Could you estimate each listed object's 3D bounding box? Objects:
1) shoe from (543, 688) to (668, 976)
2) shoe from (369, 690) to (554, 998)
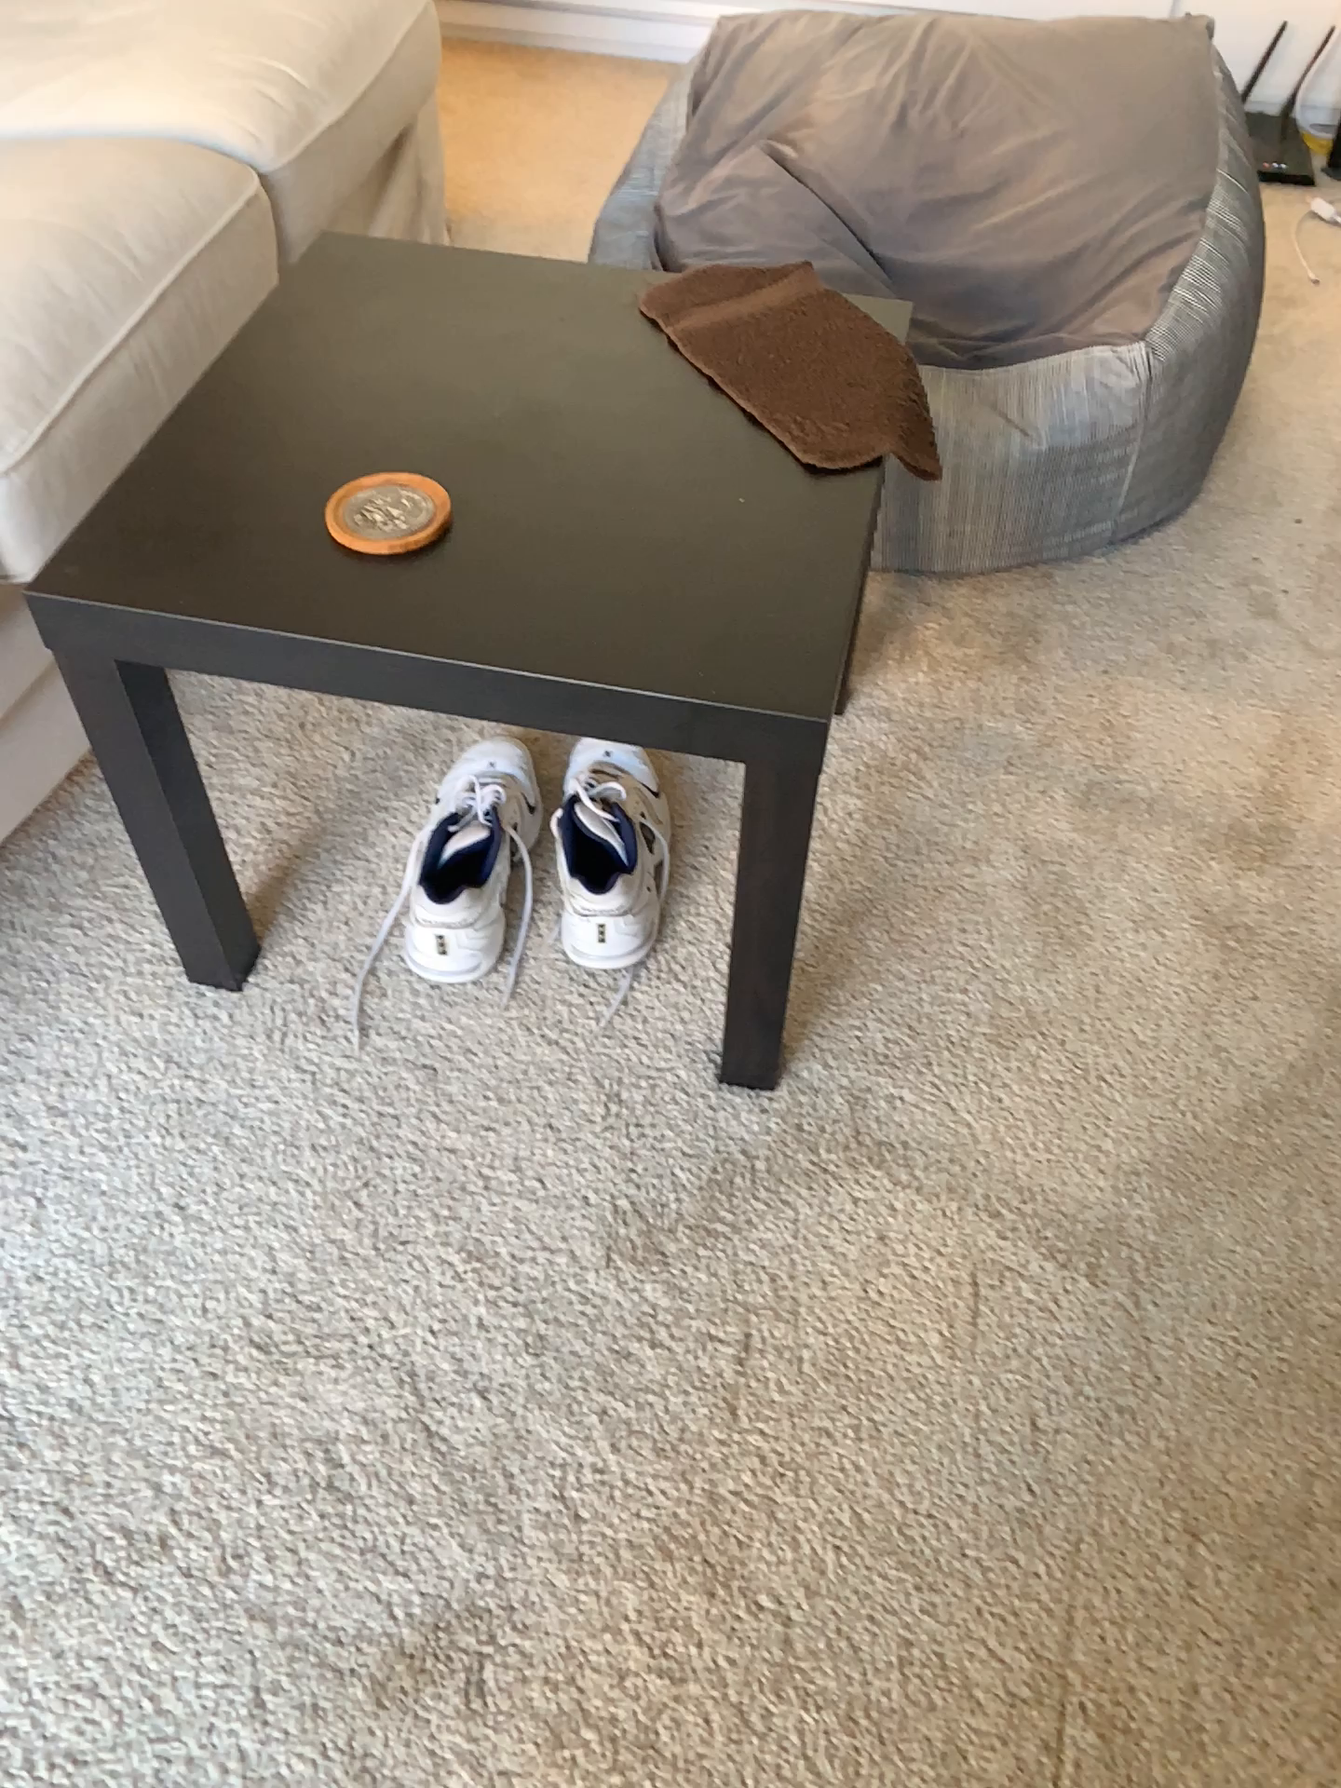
[{"bbox_3d":[-0.060,-0.067,1.343,0.110,0.100,0.291,0,50,-1],"label":"shoe"},{"bbox_3d":[-0.189,-0.054,1.294,0.110,0.100,0.291,5,50,3],"label":"shoe"}]
